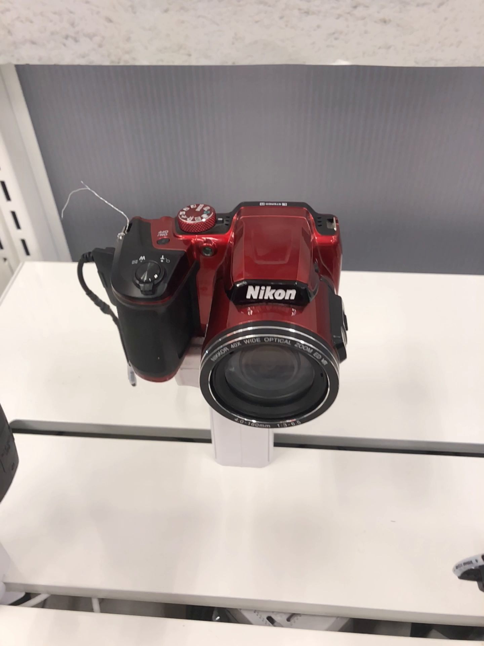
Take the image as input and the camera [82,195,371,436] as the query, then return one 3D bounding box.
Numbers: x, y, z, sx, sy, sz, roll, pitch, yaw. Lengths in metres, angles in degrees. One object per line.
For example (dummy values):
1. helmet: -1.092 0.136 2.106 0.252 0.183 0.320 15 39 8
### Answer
1. camera: -0.003 -0.006 0.260 0.110 0.073 0.084 3 43 4
